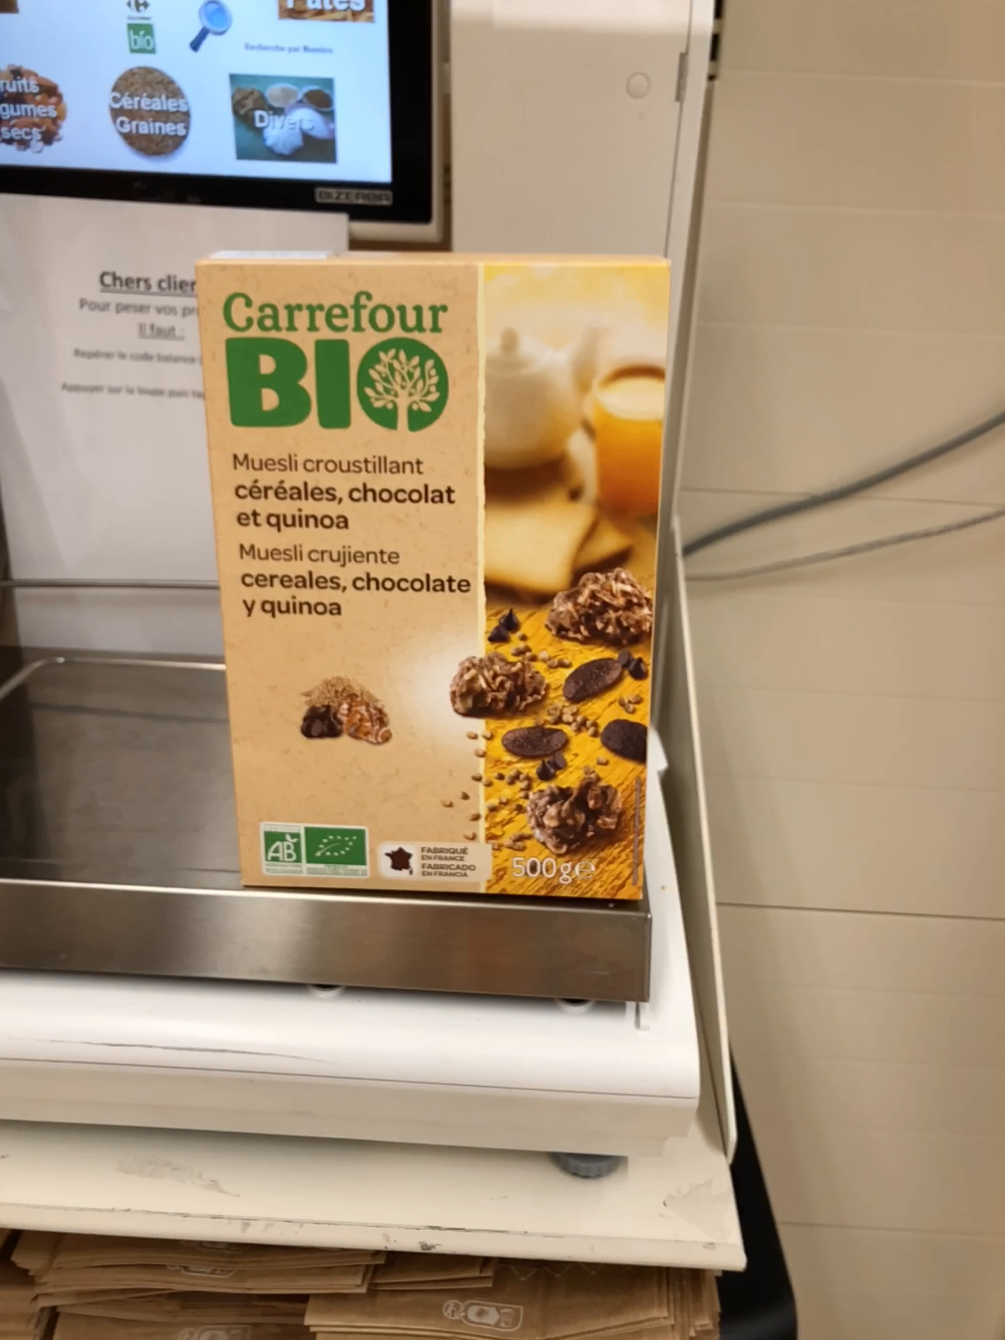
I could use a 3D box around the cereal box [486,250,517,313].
[{"bbox_3d":[-0.021,-6.785,19.446,0.460,0.975,0.533,4,22,3],"label":"cereal box"}]
